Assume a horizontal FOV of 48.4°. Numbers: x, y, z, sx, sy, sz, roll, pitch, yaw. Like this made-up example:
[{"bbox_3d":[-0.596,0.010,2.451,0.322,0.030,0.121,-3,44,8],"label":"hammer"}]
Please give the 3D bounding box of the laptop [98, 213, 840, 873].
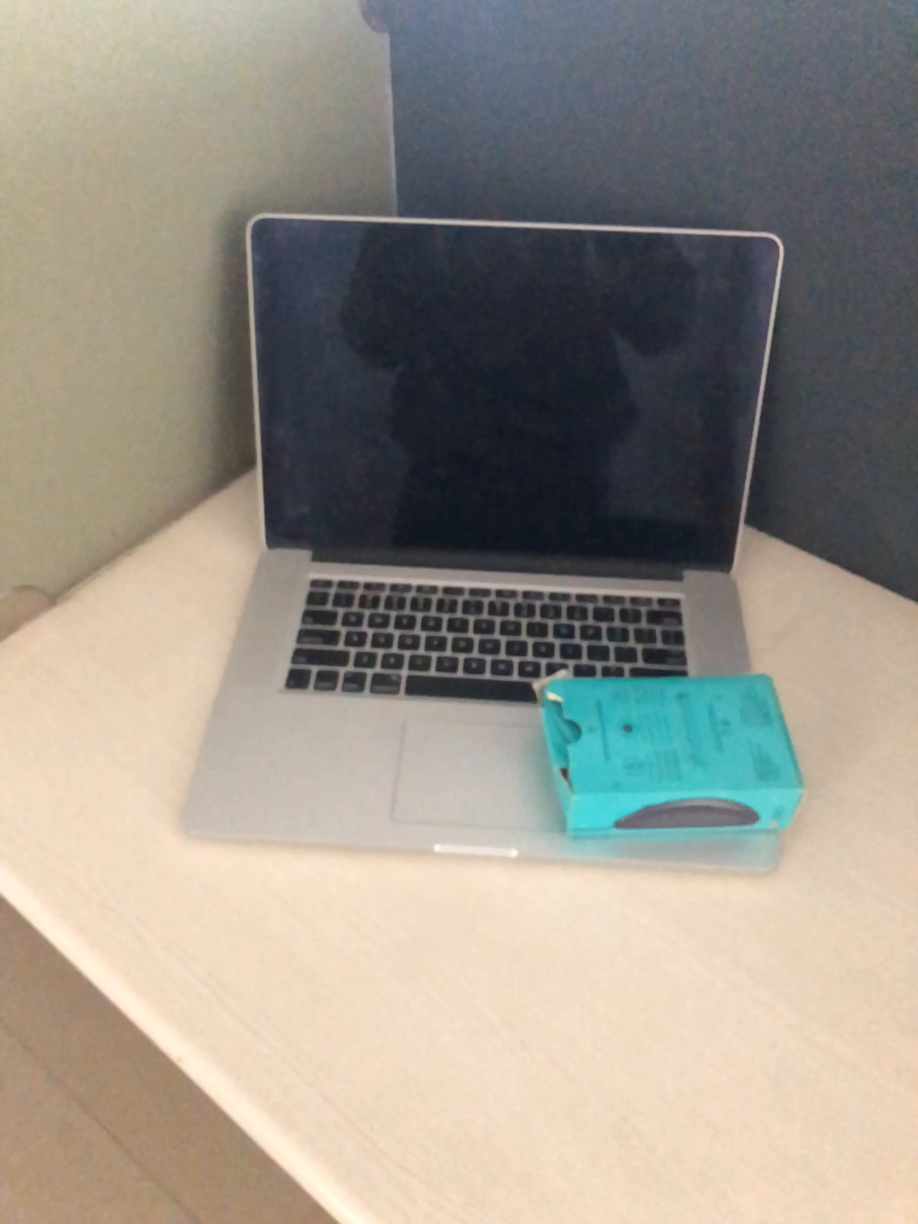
[{"bbox_3d":[0.014,-0.060,0.633,0.328,0.200,0.340,4,48,4],"label":"laptop"}]
